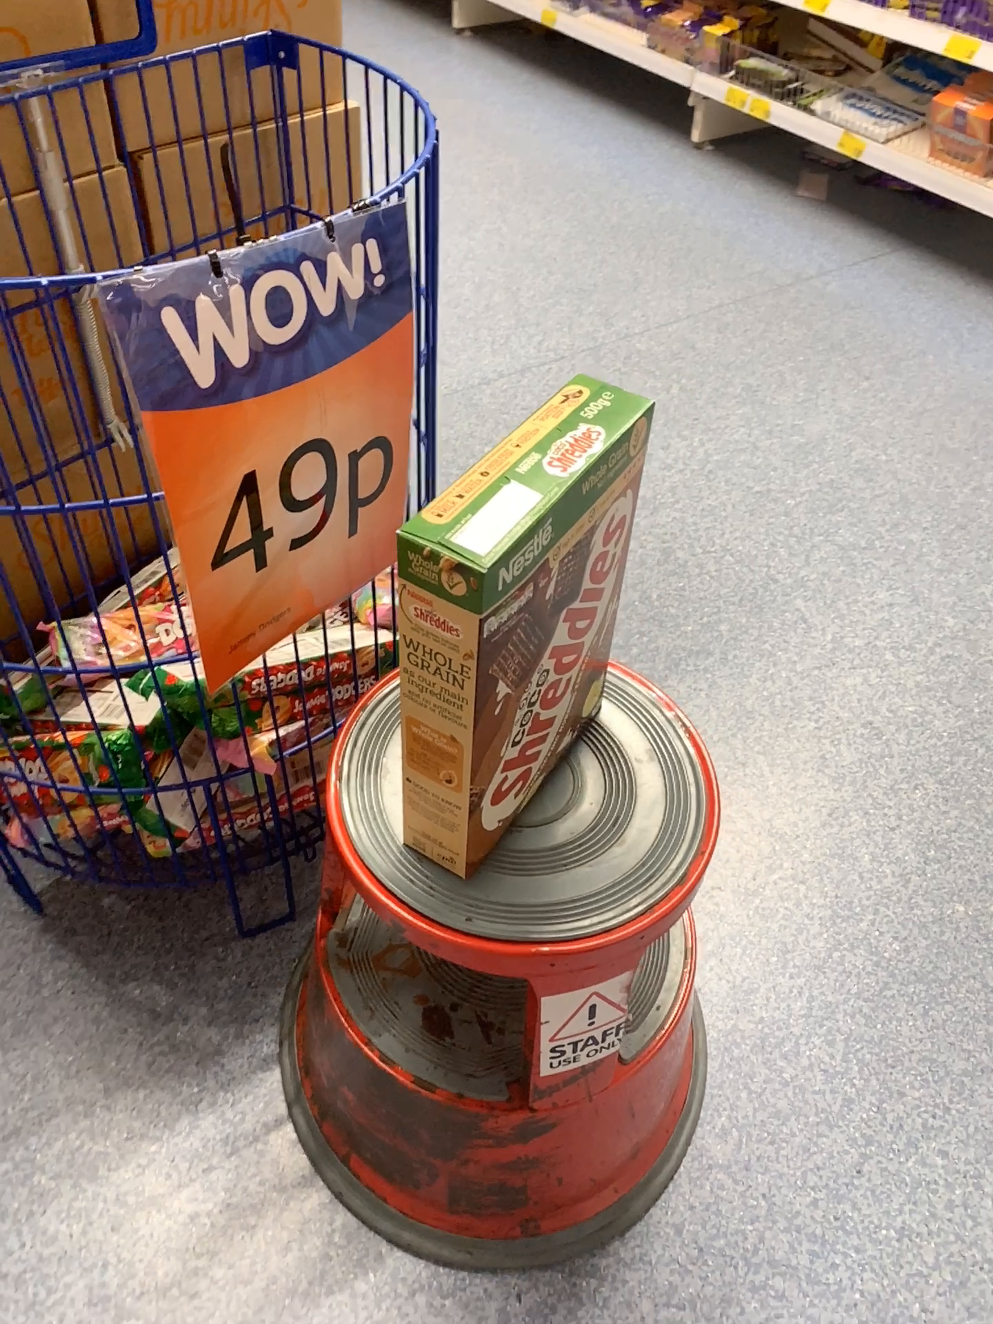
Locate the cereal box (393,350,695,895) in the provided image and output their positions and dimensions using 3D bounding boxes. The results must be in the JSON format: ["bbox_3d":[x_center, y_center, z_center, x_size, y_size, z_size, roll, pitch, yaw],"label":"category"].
[{"bbox_3d":[0.027,-0.019,0.639,0.070,0.277,0.201,25,49,20],"label":"cereal box"}]
